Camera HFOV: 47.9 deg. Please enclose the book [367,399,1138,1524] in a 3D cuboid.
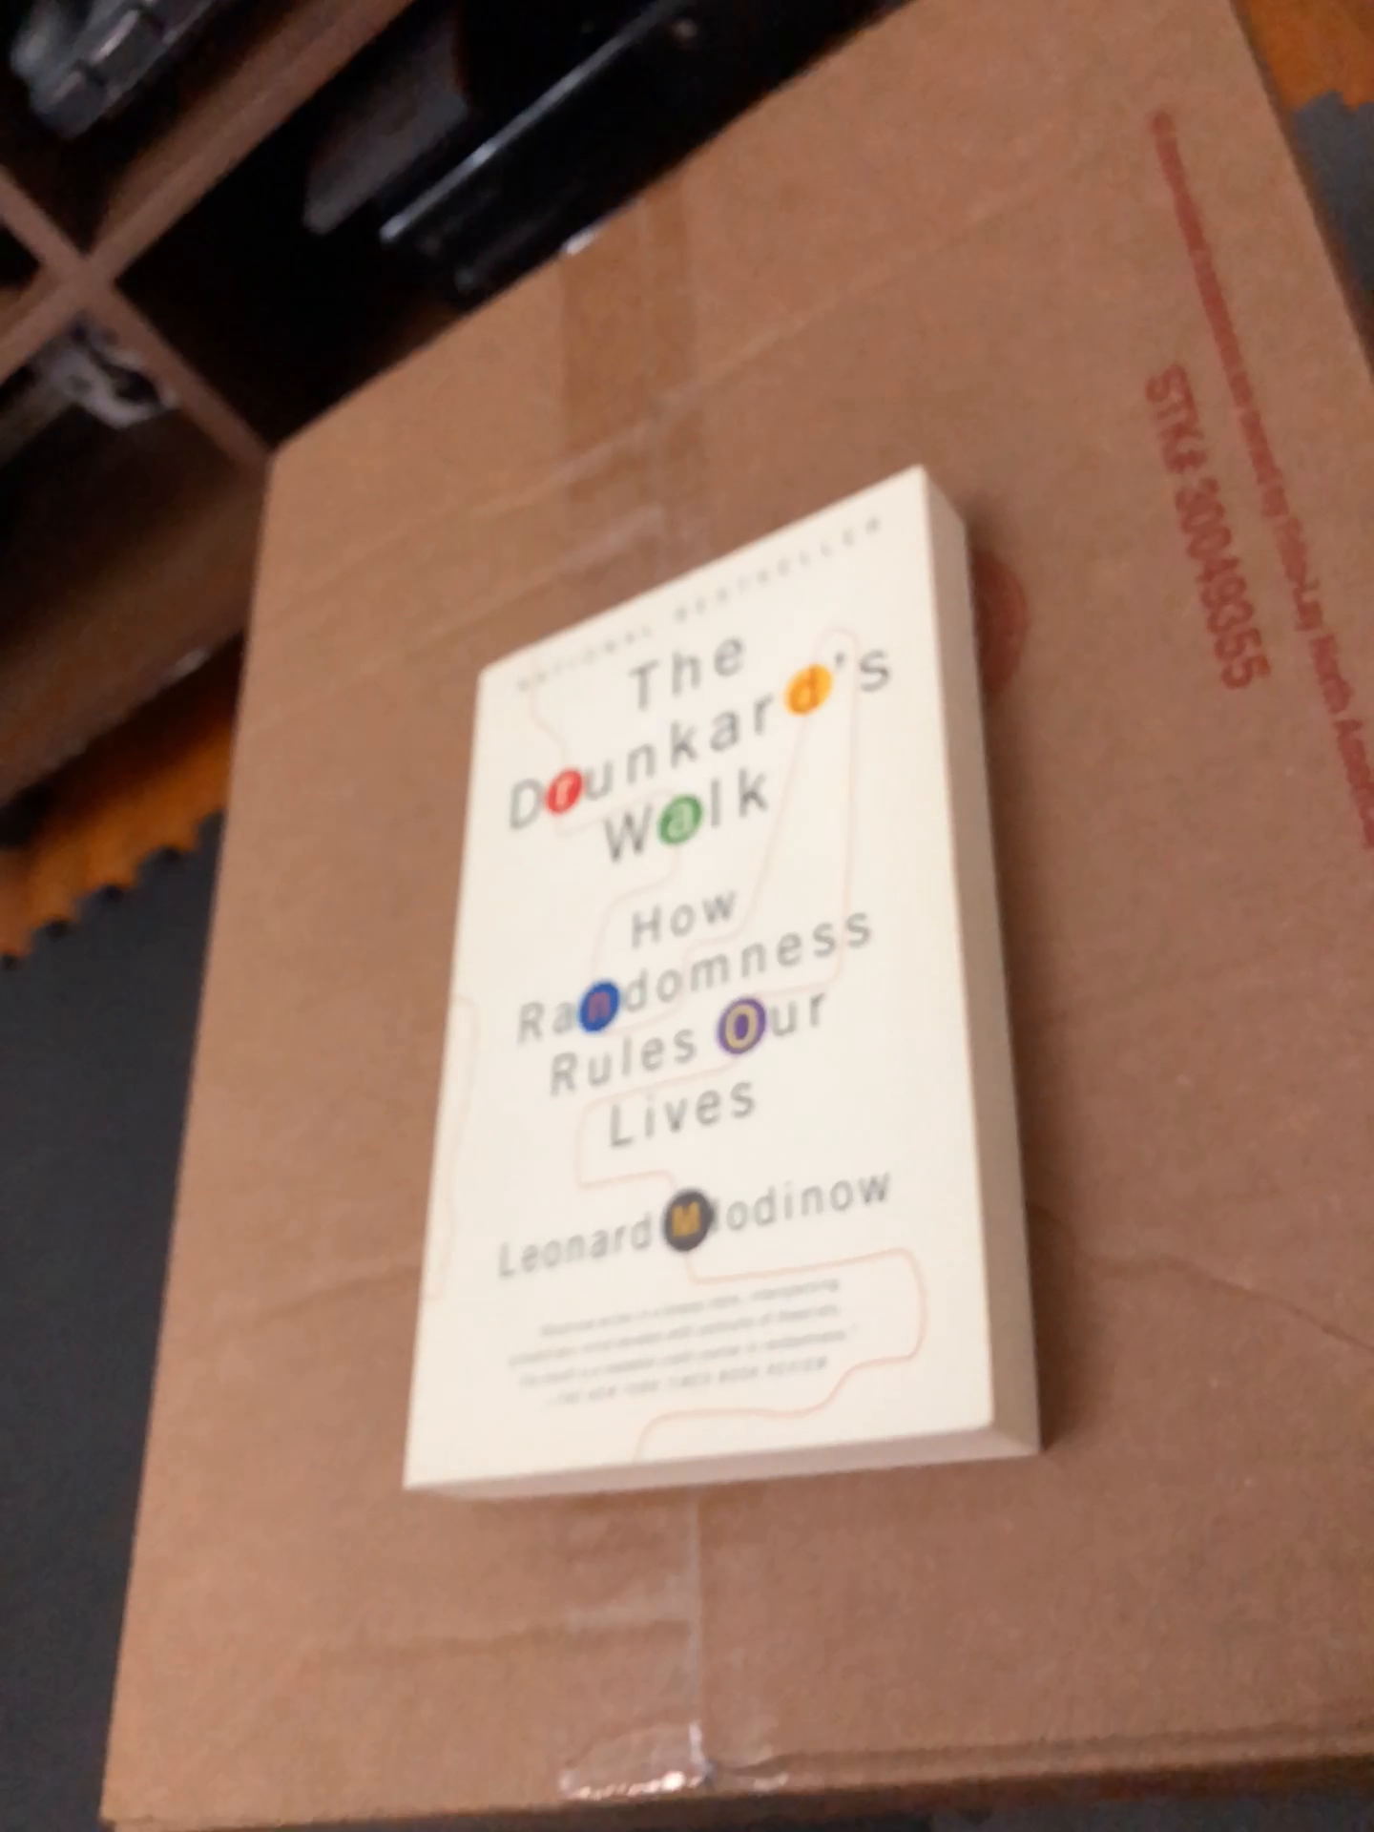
[{"bbox_3d":[0.007,0.010,0.328,0.140,0.040,0.211,-19,56,32],"label":"book"}]
